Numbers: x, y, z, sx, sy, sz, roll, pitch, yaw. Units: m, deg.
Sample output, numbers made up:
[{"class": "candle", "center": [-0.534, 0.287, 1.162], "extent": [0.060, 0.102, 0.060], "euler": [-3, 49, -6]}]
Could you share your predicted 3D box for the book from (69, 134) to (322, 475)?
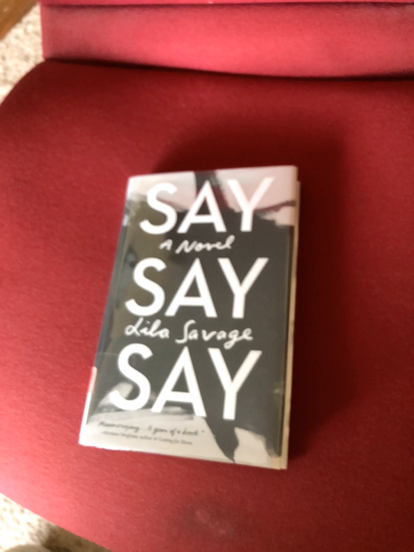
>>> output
[{"class": "book", "center": [-0.001, 0.012, 0.320], "extent": [0.150, 0.040, 0.210], "euler": [0, 74, 17]}]
